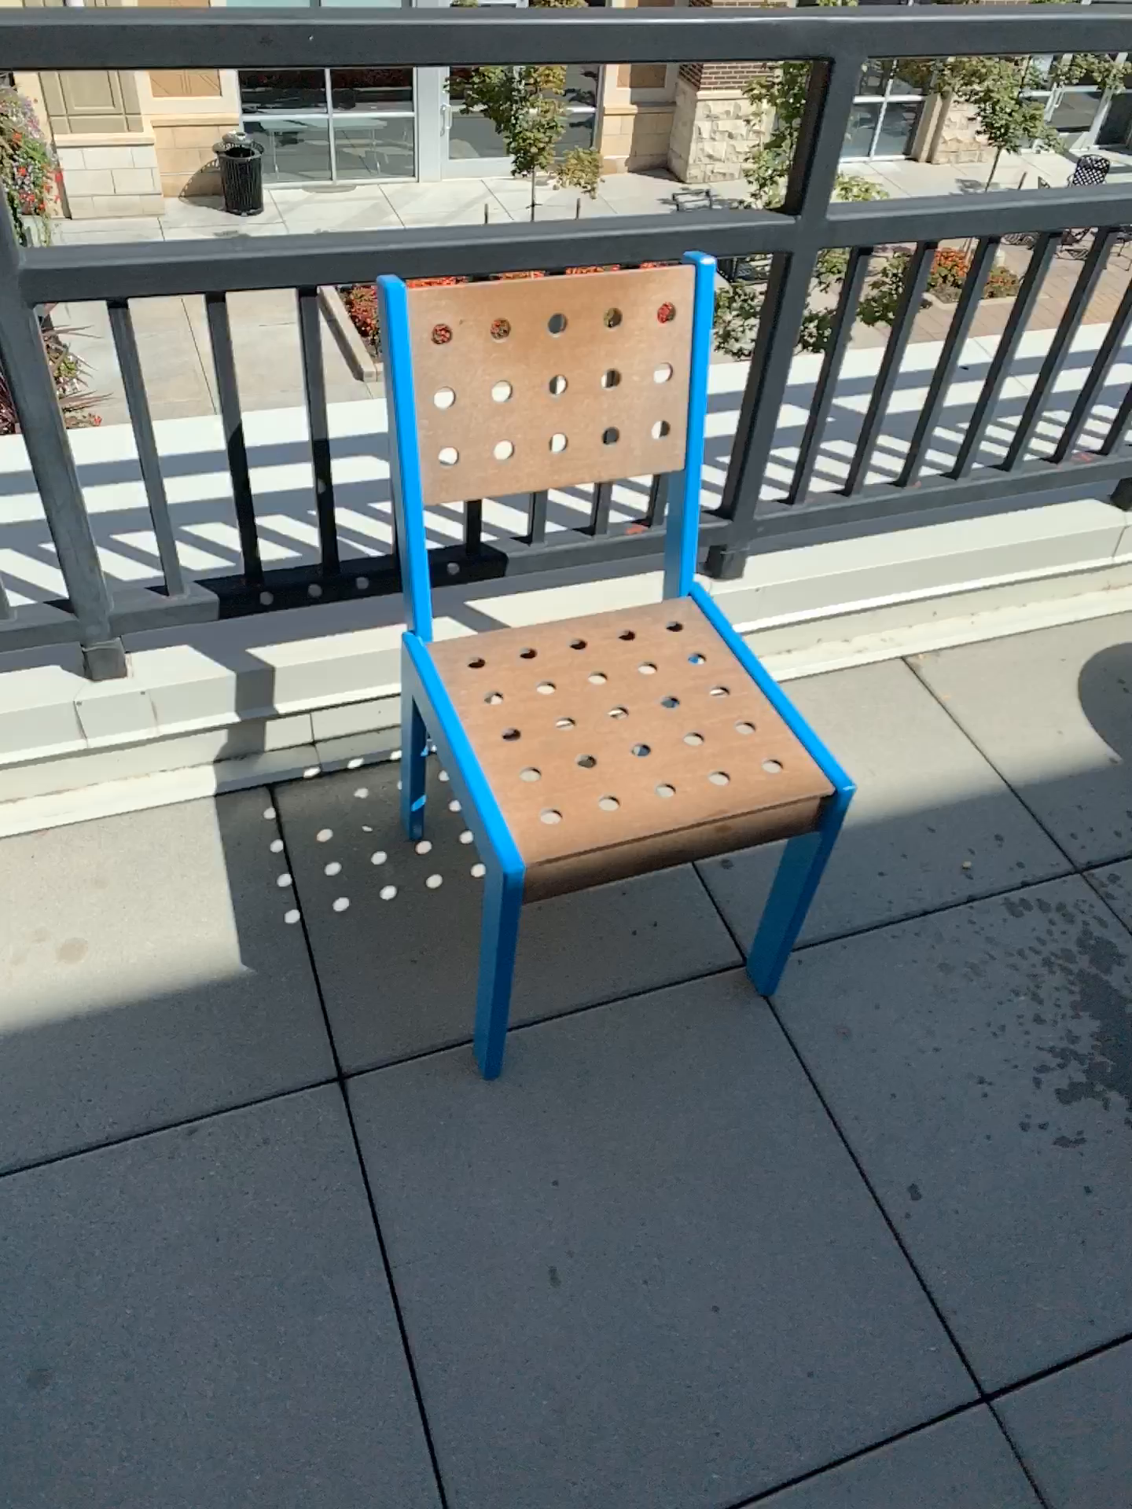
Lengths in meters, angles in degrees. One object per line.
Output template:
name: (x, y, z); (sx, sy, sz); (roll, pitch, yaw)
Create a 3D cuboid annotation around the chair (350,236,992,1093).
chair: (0.039, -0.117, 1.543); (0.470, 0.856, 0.672); (-12, 47, -17)
